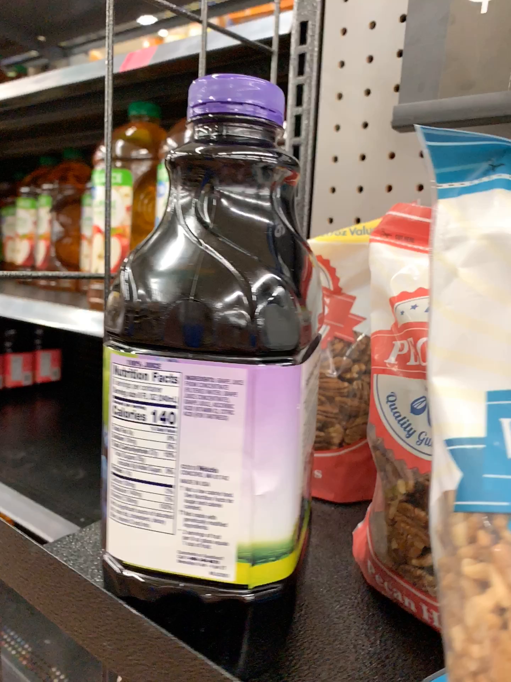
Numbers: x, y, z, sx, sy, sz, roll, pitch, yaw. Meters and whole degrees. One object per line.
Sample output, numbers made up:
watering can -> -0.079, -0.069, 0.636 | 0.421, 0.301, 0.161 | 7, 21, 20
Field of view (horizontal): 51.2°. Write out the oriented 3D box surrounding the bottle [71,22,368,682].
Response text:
bottle -> -0.010, 0.011, 0.261 | 0.100, 0.259, 0.120 | 6, 9, 13
